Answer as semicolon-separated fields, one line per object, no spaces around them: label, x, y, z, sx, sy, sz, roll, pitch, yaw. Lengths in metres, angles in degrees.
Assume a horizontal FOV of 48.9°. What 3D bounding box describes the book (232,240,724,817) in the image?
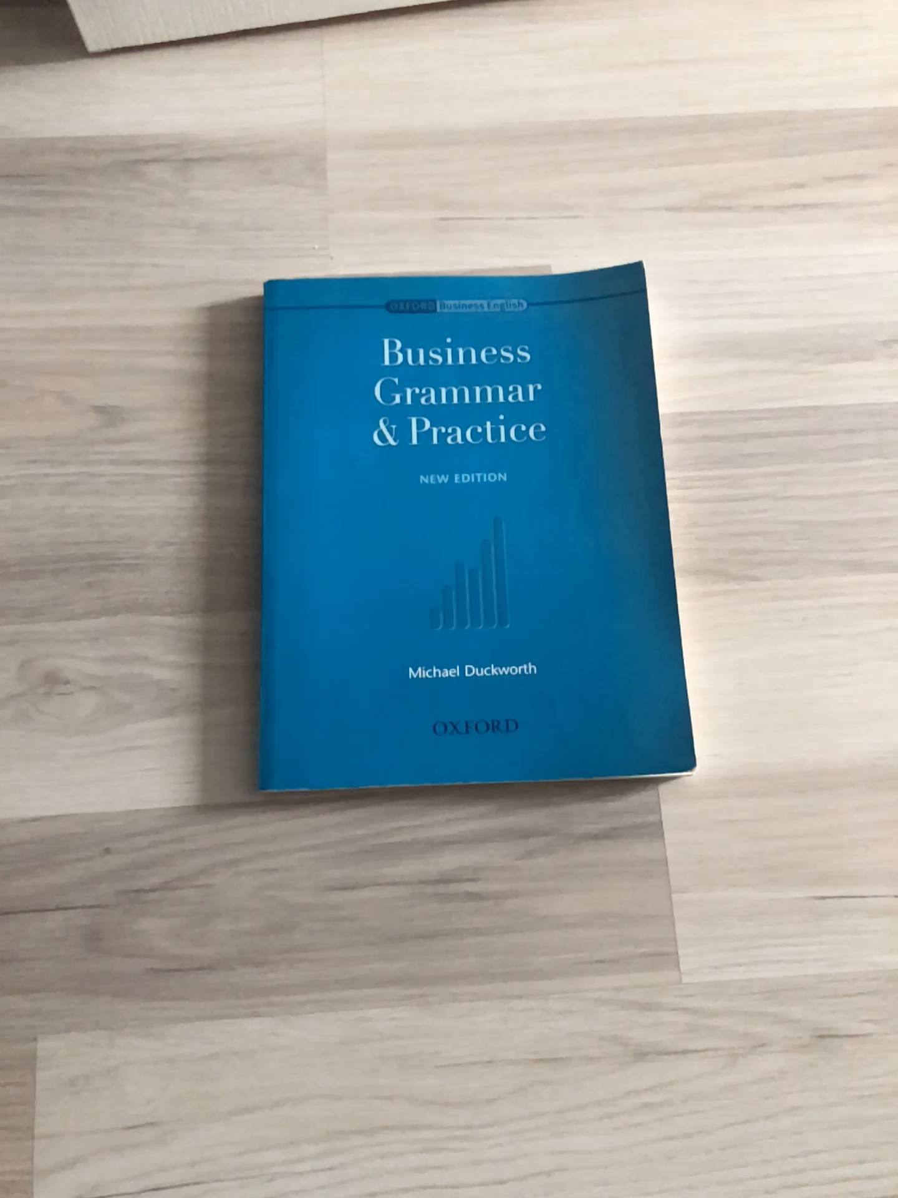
book;0.008;-0.044;0.520;0.230;0.040;0.300;-2;74;-2
